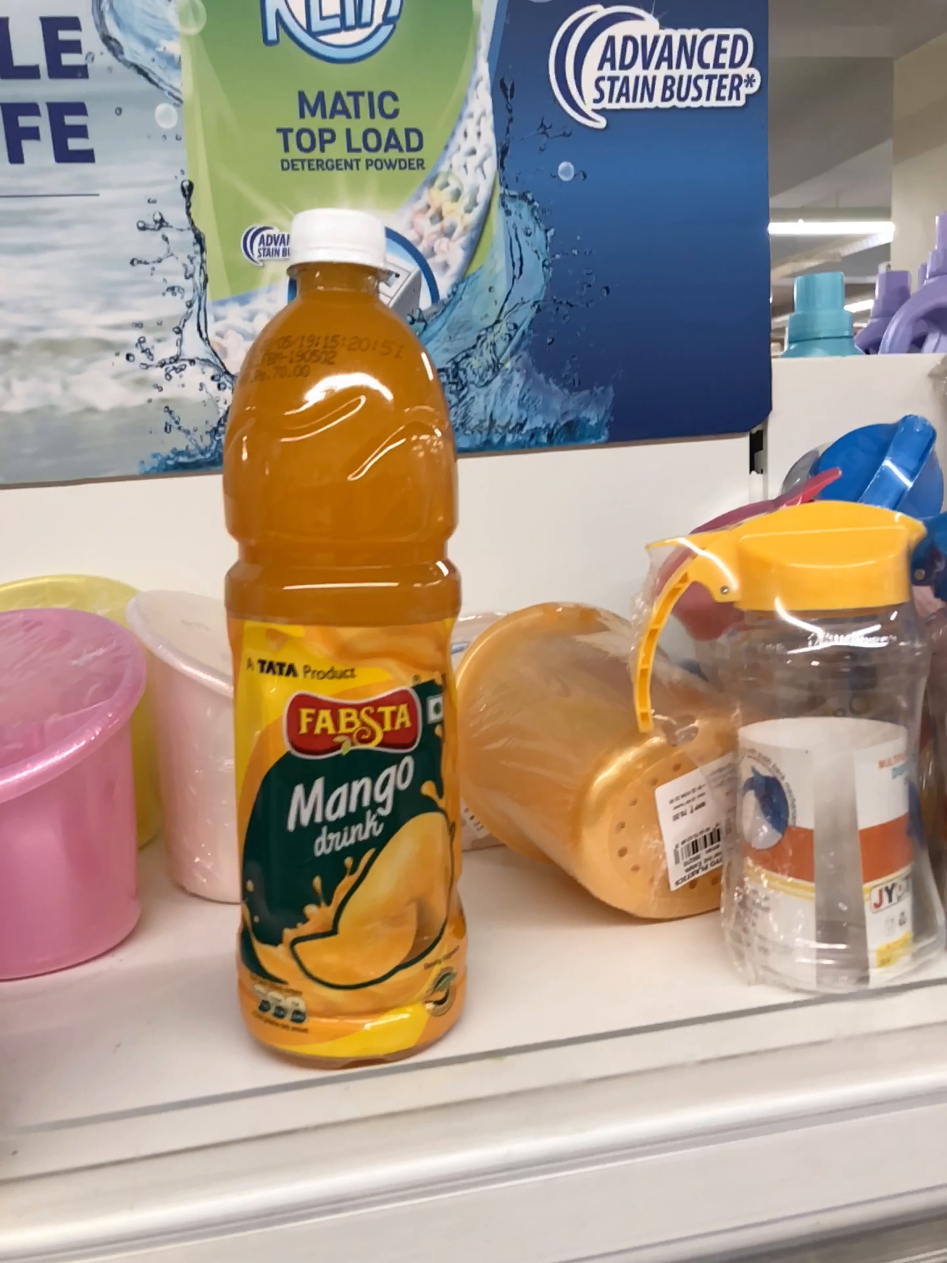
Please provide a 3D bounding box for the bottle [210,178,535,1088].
[{"bbox_3d":[-0.038,0.001,0.345,0.090,0.259,0.080,-1,8,-14],"label":"bottle"}]
